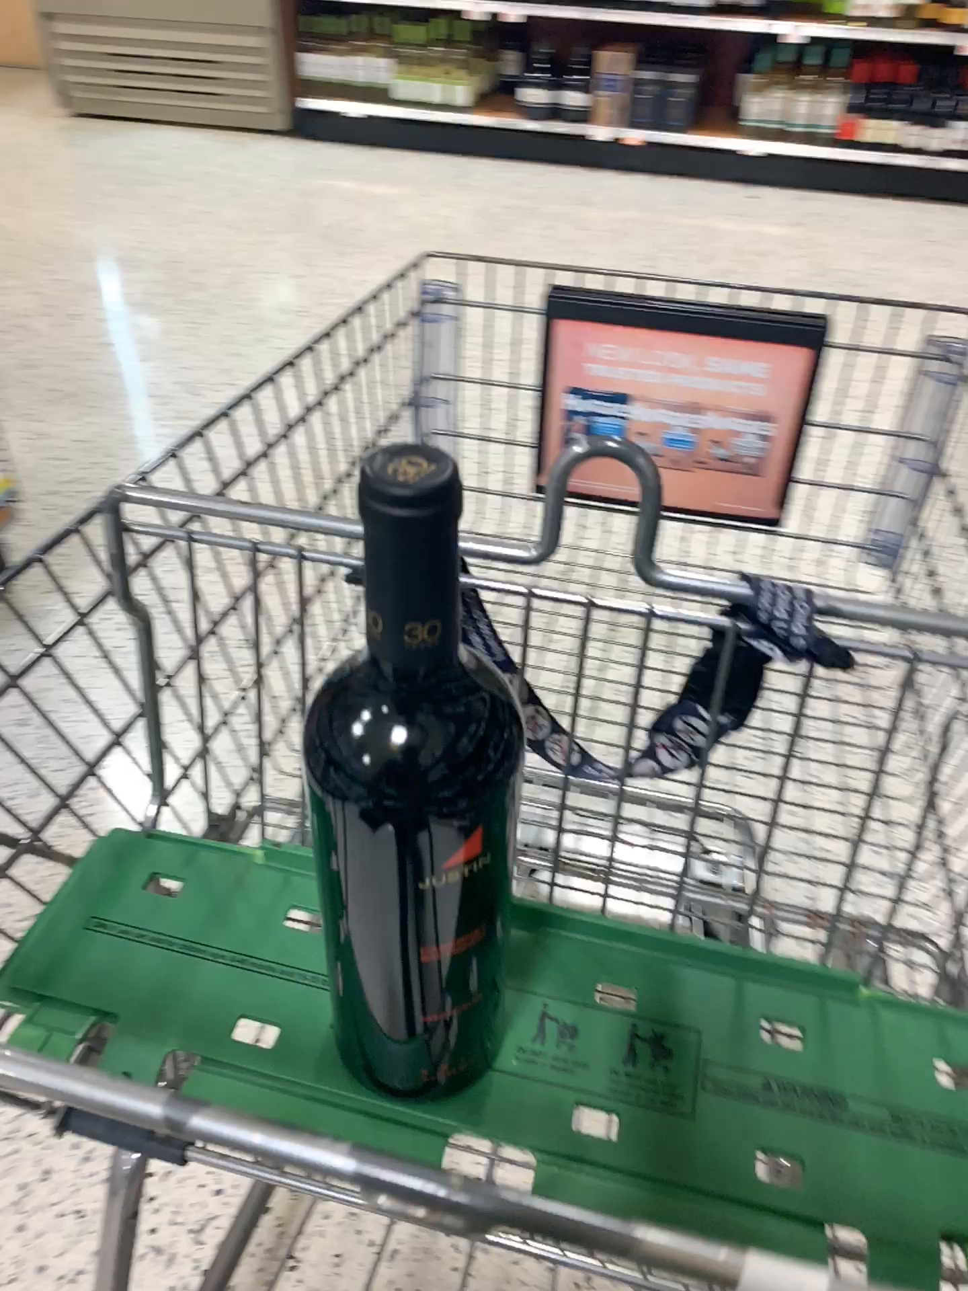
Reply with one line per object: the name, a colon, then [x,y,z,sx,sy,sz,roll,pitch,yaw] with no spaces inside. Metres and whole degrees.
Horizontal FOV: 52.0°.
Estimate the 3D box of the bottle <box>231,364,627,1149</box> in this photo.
bottle: [-0.019,0.062,0.358,0.080,0.297,0.081,1,40,0]
